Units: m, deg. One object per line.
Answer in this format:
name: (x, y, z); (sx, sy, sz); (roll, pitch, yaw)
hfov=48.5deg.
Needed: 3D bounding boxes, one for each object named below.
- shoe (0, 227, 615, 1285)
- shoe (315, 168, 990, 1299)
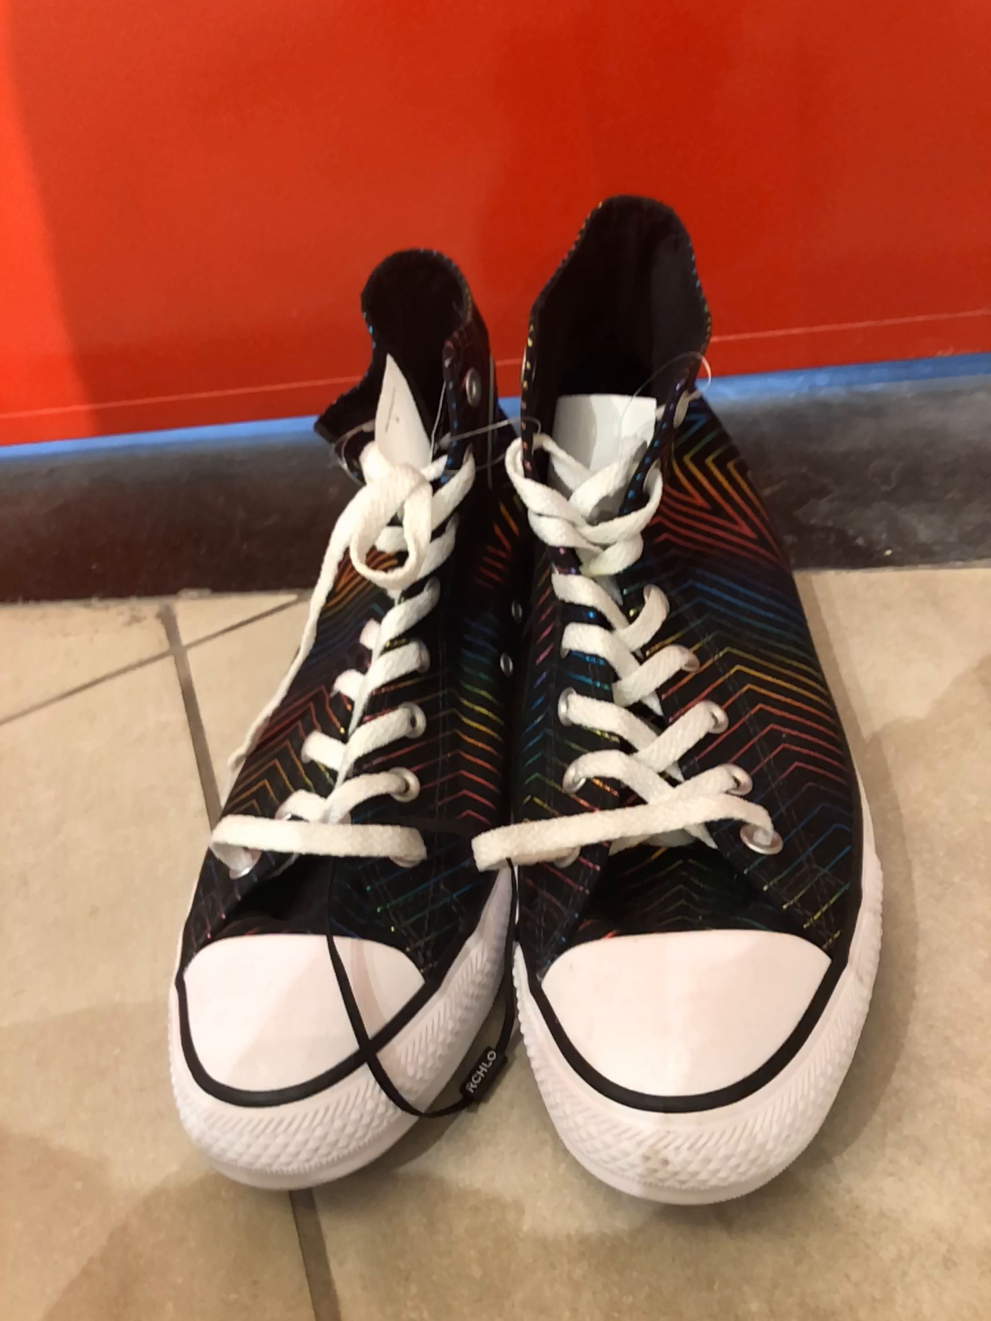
shoe: (-0.035, 0.003, 0.356); (0.110, 0.139, 0.312); (-4, 44, 15)
shoe: (0.052, -0.006, 0.328); (0.110, 0.139, 0.312); (-6, 43, 12)
